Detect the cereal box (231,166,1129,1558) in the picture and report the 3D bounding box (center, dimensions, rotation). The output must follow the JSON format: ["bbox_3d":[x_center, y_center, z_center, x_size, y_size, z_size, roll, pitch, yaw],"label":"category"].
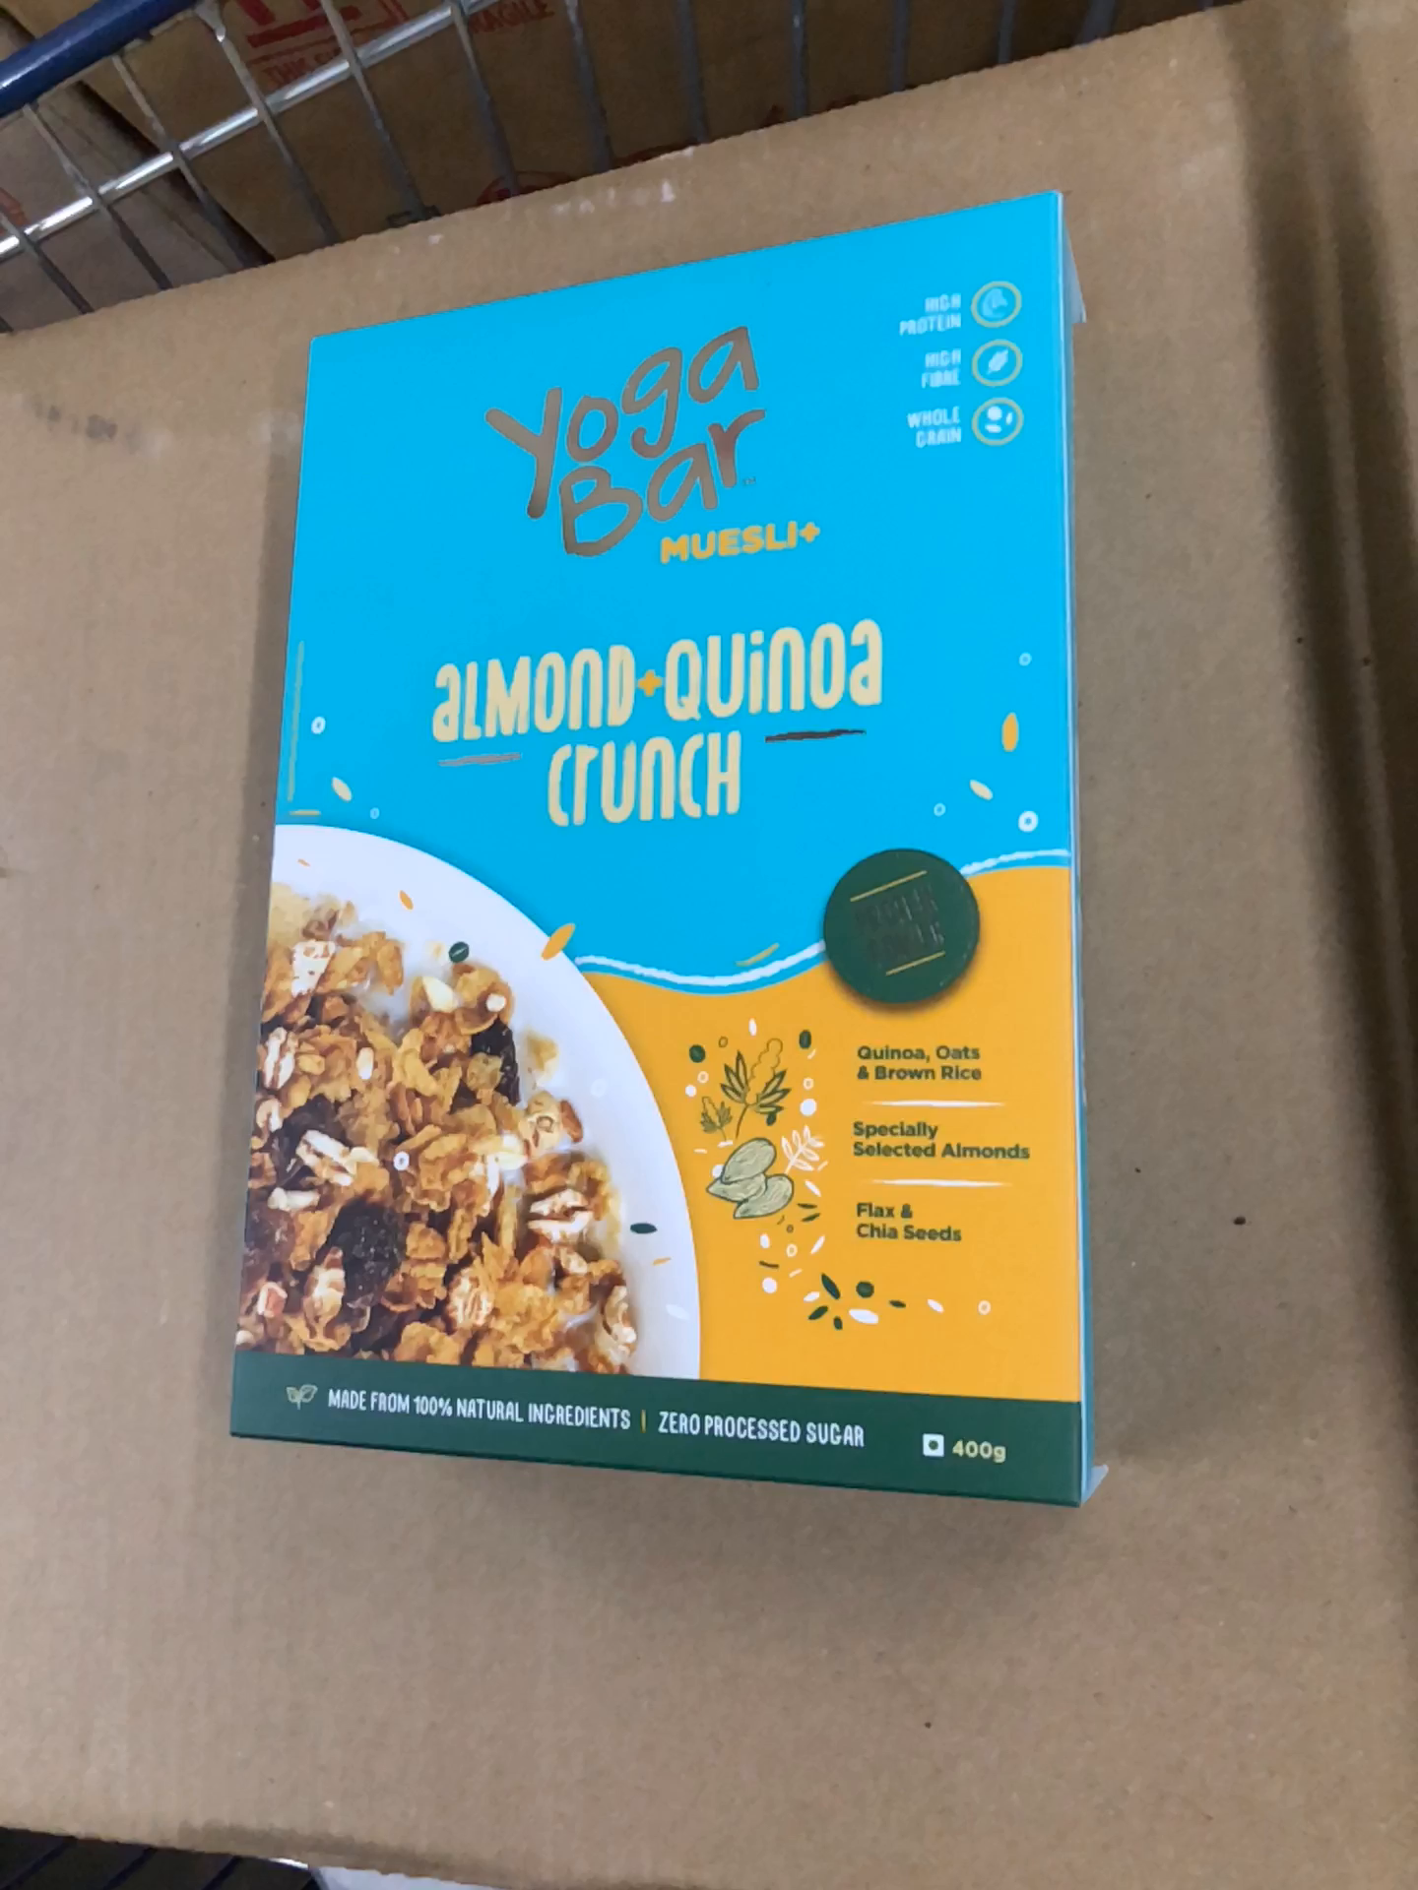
[{"bbox_3d":[-0.002,-0.014,0.321,0.160,0.070,0.240,-2,81,17],"label":"cereal box"}]
